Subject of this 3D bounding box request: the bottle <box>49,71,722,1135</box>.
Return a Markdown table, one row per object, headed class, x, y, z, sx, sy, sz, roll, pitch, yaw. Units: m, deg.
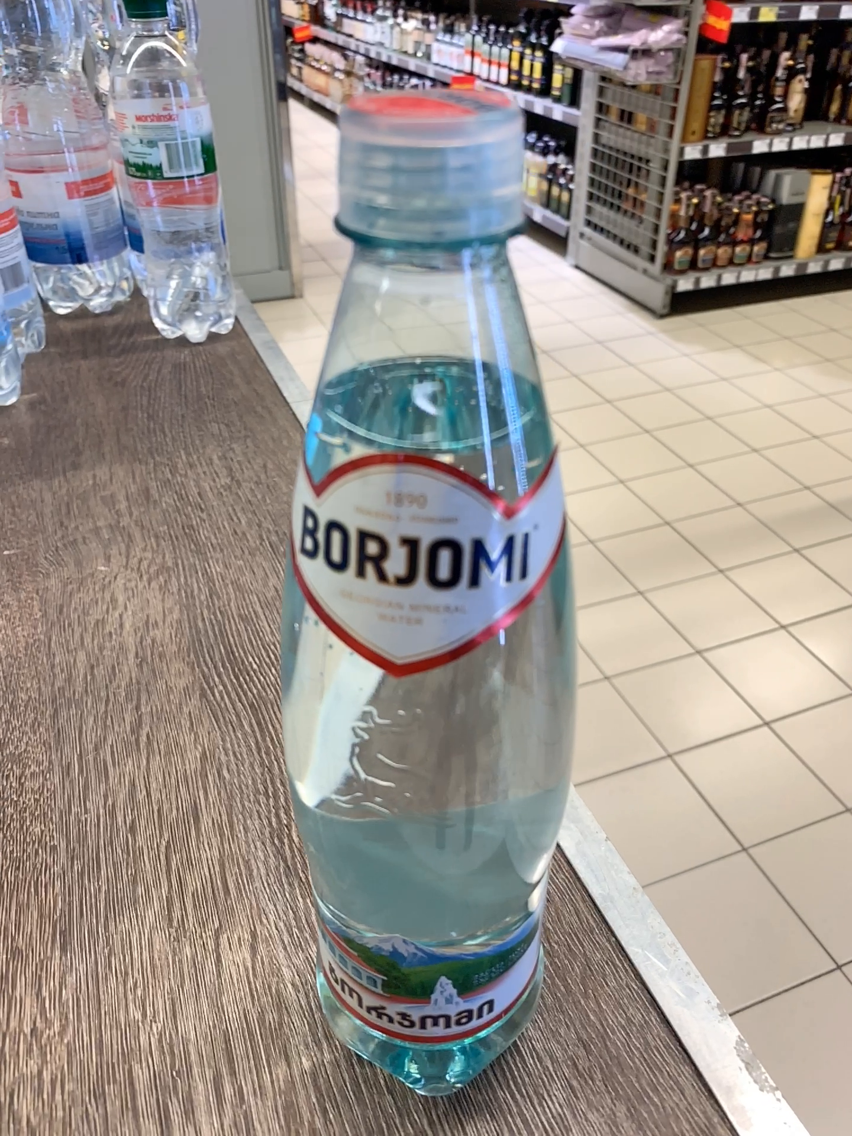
| class | x | y | z | sx | sy | sz | roll | pitch | yaw |
| --- | --- | --- | --- | --- | --- | --- | --- | --- | --- |
| bottle | 0.000 | 0.029 | 0.200 | 0.080 | 0.239 | 0.070 | 11 | 37 | 15 |
